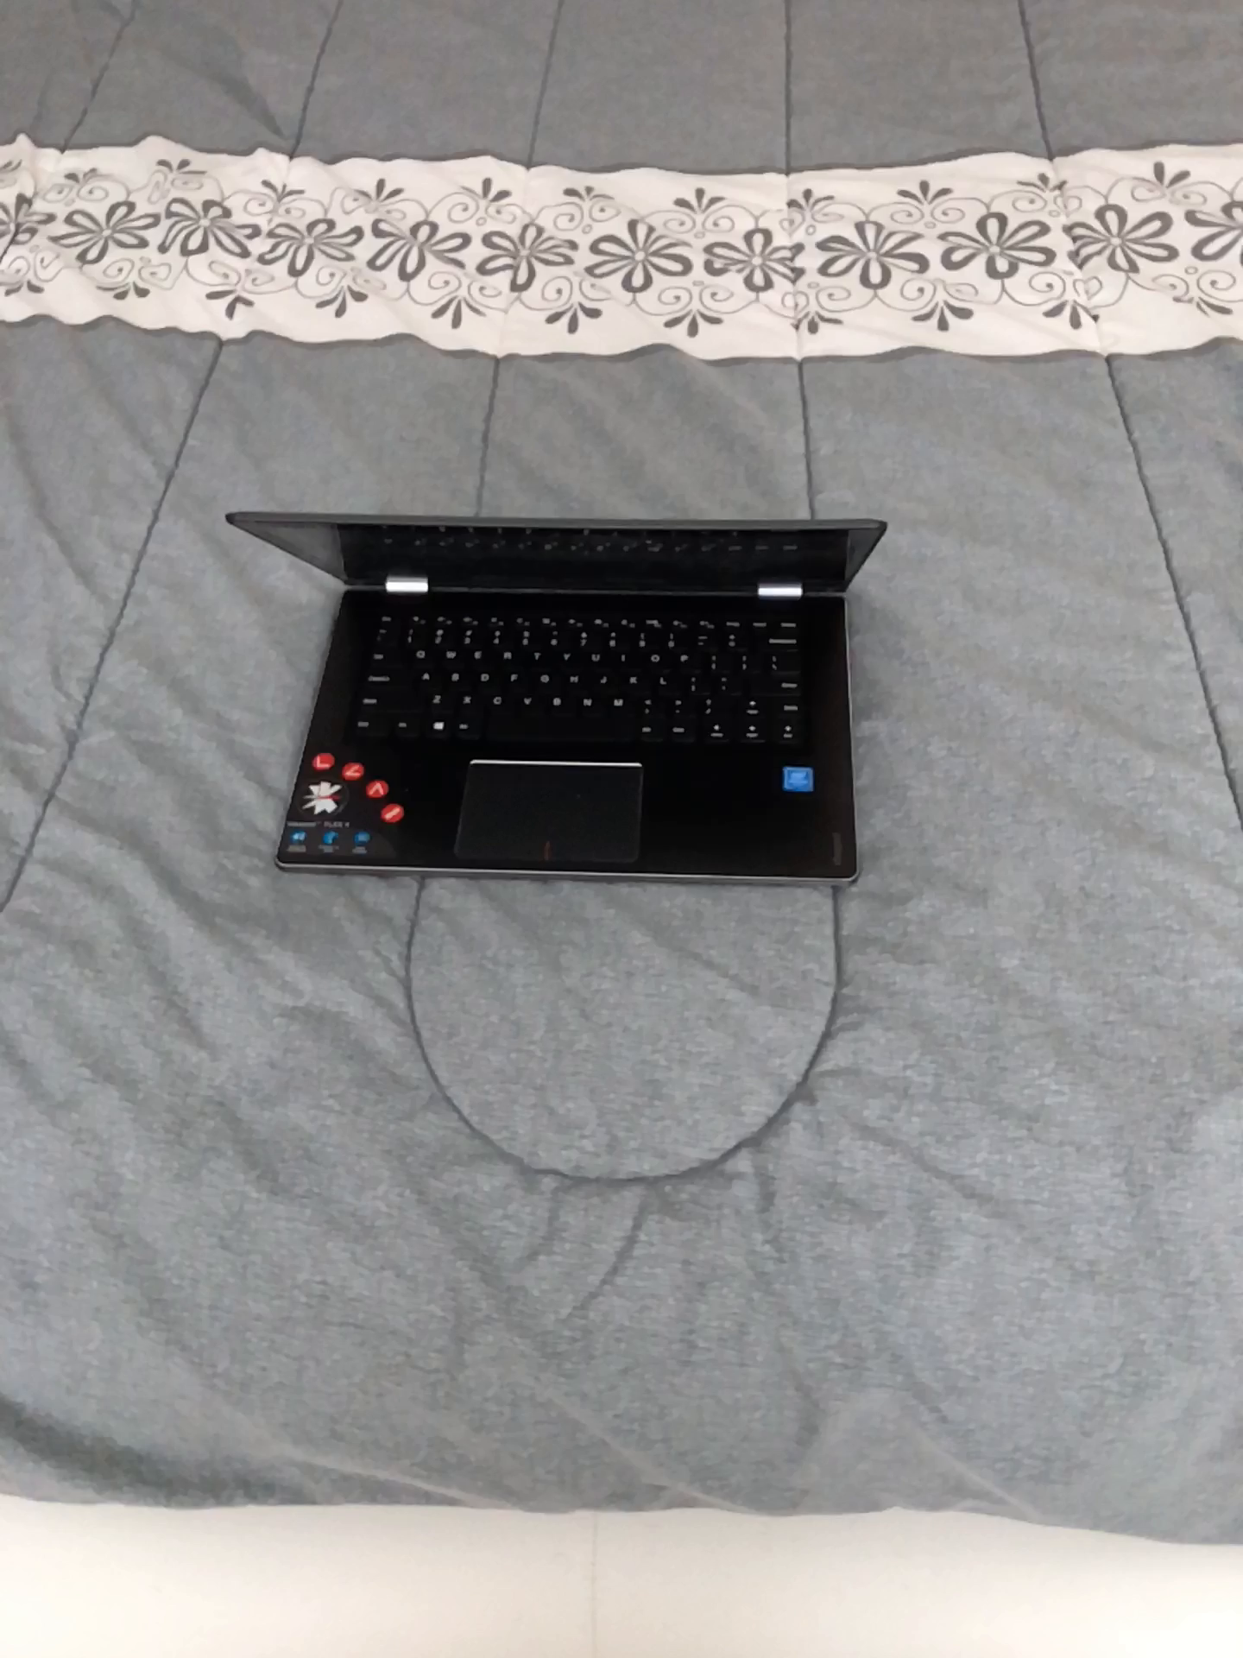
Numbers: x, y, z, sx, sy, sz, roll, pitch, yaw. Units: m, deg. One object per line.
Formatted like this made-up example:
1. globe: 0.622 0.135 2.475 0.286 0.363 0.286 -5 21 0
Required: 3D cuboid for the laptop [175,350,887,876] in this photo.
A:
1. laptop: -0.029 -0.114 0.717 0.304 0.167 0.215 2 53 4
